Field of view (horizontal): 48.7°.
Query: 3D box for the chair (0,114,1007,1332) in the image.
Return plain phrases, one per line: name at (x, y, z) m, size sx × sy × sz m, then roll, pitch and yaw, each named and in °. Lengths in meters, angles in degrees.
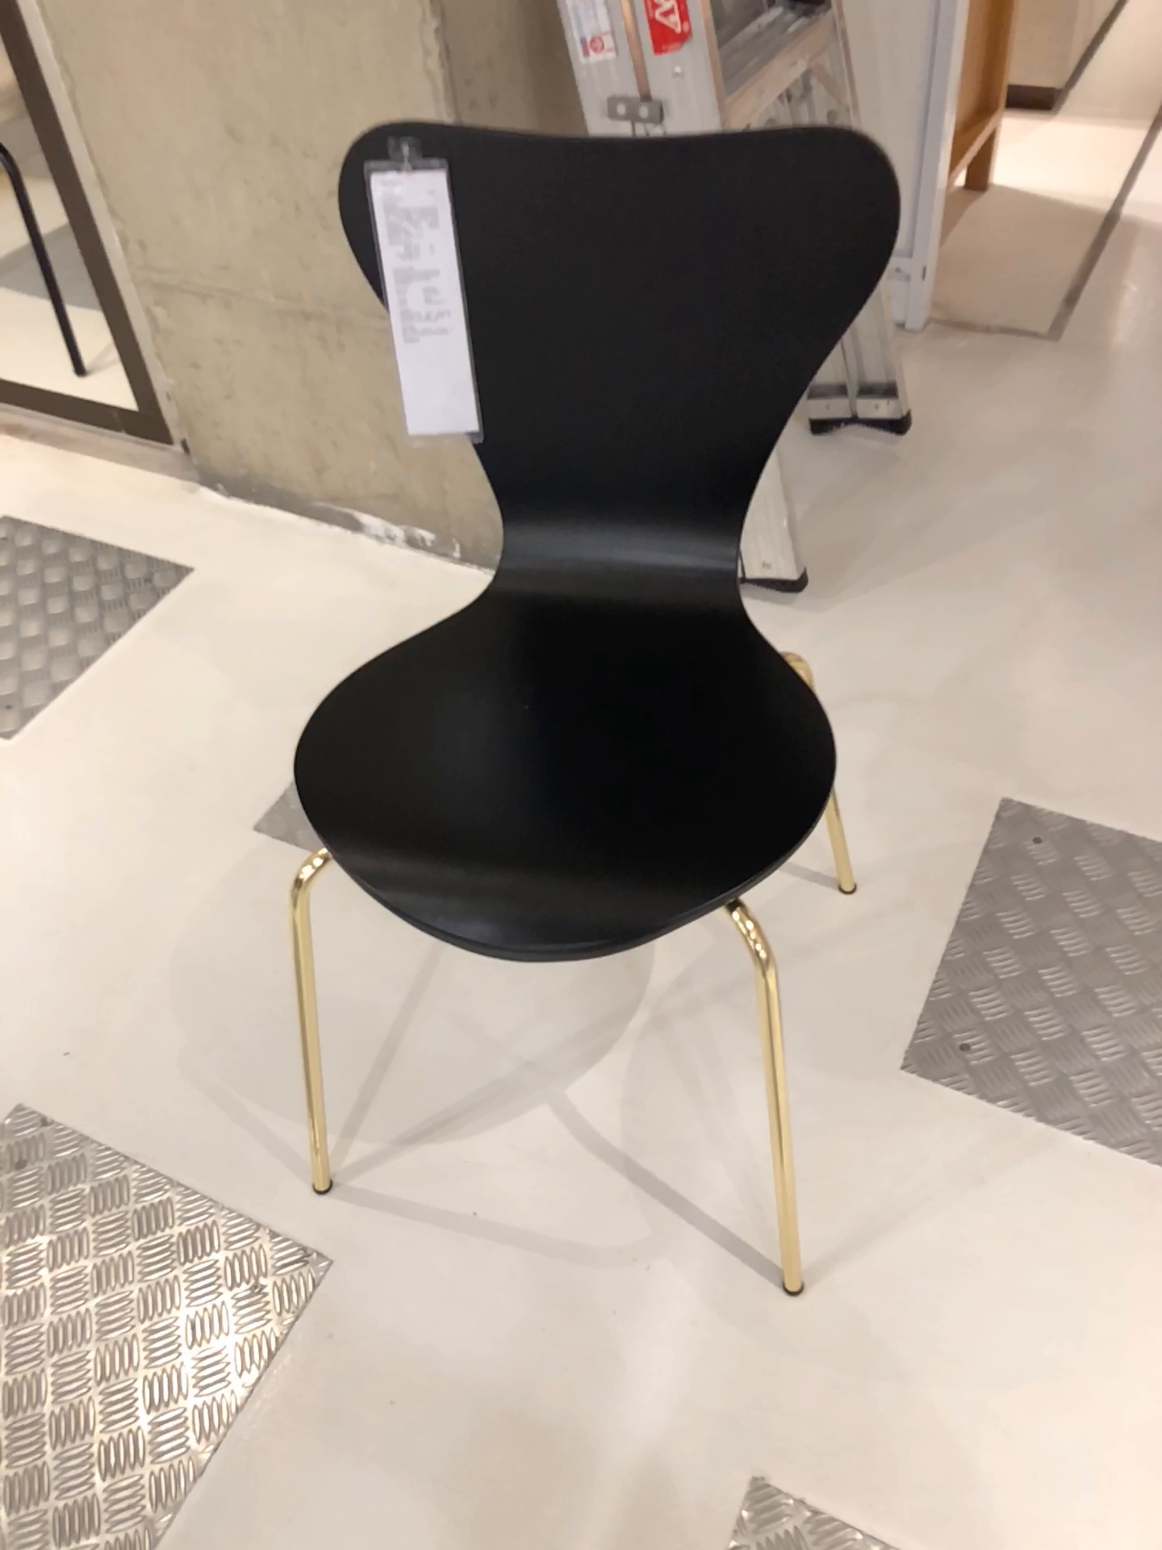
chair at (0.010, -0.024, 1.048) m, size 0.510 × 0.775 × 0.544 m, roll 8°, pitch 48°, yaw 14°
